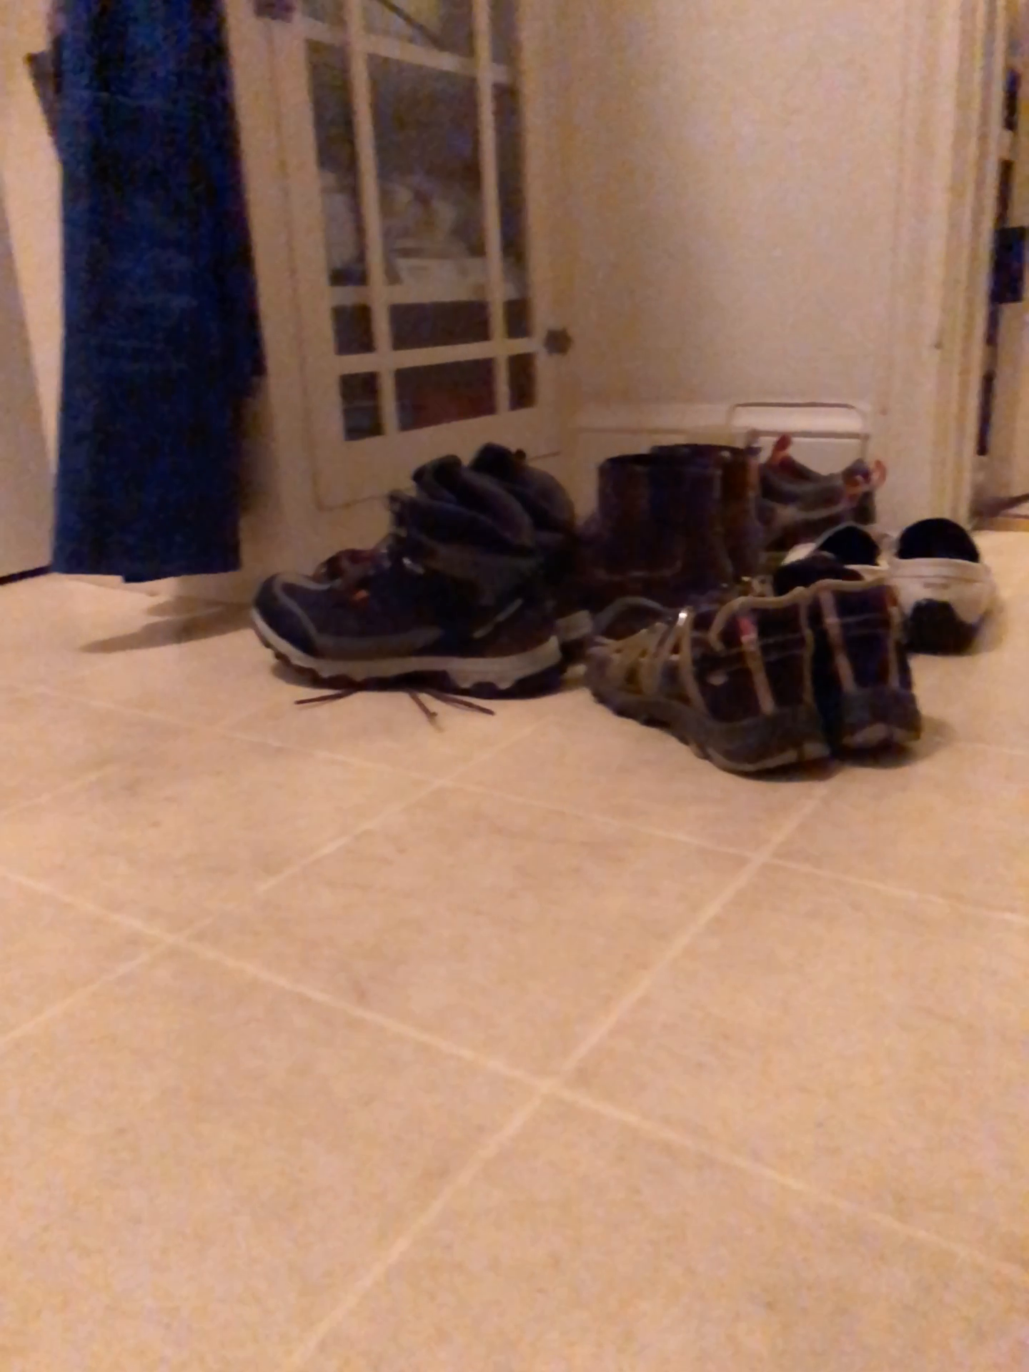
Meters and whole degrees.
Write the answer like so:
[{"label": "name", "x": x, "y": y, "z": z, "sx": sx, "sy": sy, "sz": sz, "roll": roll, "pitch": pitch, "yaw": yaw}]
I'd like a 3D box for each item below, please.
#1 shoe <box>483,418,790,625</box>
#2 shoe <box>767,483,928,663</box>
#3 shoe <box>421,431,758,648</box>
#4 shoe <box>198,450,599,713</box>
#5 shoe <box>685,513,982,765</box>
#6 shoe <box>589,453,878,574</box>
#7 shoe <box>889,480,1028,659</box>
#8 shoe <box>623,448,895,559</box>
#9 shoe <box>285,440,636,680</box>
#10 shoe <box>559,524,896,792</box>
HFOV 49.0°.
[{"label": "shoe", "x": 0.130, "y": -0.193, "z": 1.257, "sx": 0.323, "sy": 0.192, "sz": 0.110, "roll": 11, "pitch": 22, "yaw": 36}, {"label": "shoe", "x": 0.318, "y": -0.121, "z": 1.118, "sx": 0.110, "sy": 0.113, "sz": 0.304, "roll": 0, "pitch": 18, "yaw": 9}, {"label": "shoe", "x": 0.077, "y": -0.160, "z": 1.171, "sx": 0.323, "sy": 0.192, "sz": 0.111, "roll": 6, "pitch": 19, "yaw": 26}, {"label": "shoe", "x": -0.100, "y": -0.102, "z": 0.984, "sx": 0.323, "sy": 0.192, "sz": 0.111, "roll": 6, "pitch": 19, "yaw": 25}, {"label": "shoe", "x": 0.239, "y": -0.052, "z": 0.912, "sx": 0.110, "sy": 0.123, "sz": 0.294, "roll": -6, "pitch": 18, "yaw": -9}, {"label": "shoe", "x": 0.254, "y": -0.209, "z": 1.333, "sx": 0.313, "sy": 0.113, "sz": 0.111, "roll": 7, "pitch": 20, "yaw": 29}, {"label": "shoe", "x": 0.434, "y": -0.126, "z": 1.121, "sx": 0.110, "sy": 0.113, "sz": 0.304, "roll": 3, "pitch": 19, "yaw": 18}, {"label": "shoe", "x": 0.304, "y": -0.236, "z": 1.426, "sx": 0.313, "sy": 0.113, "sz": 0.111, "roll": 7, "pitch": 20, "yaw": 29}, {"label": "shoe", "x": -0.054, "y": -0.133, "z": 1.095, "sx": 0.323, "sy": 0.192, "sz": 0.110, "roll": 8, "pitch": 20, "yaw": 31}, {"label": "shoe", "x": 0.147, "y": -0.037, "z": 0.868, "sx": 0.110, "sy": 0.123, "sz": 0.294, "roll": -9, "pitch": 19, "yaw": -20}]
